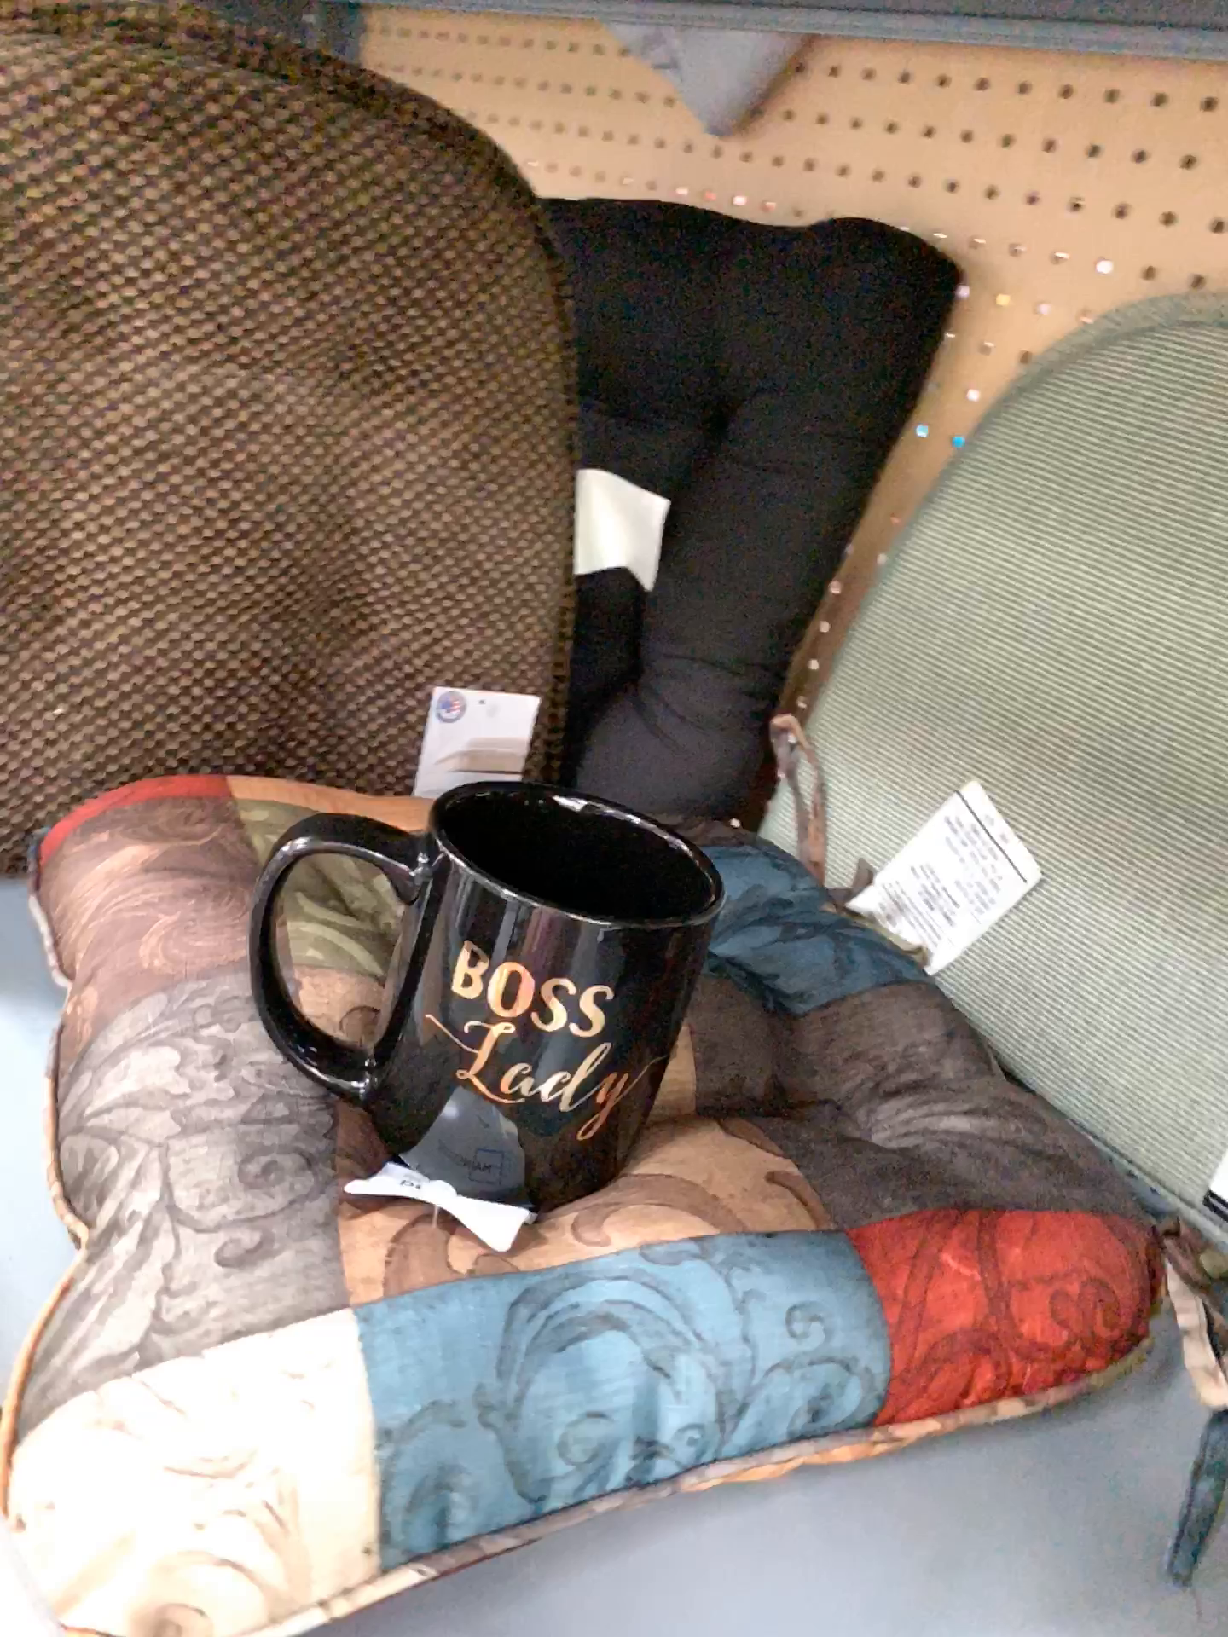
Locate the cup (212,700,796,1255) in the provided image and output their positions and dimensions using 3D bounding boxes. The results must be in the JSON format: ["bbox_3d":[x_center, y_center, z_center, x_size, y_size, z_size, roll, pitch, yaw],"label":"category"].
[{"bbox_3d":[-0.036,0.046,0.383,0.130,0.100,0.100,18,21,-15],"label":"cup"}]
